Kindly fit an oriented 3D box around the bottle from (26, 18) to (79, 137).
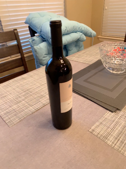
[{"bbox_3d":[-0.015,-0.007,0.381,0.090,0.328,0.084,-3,30,2],"label":"bottle"}]
